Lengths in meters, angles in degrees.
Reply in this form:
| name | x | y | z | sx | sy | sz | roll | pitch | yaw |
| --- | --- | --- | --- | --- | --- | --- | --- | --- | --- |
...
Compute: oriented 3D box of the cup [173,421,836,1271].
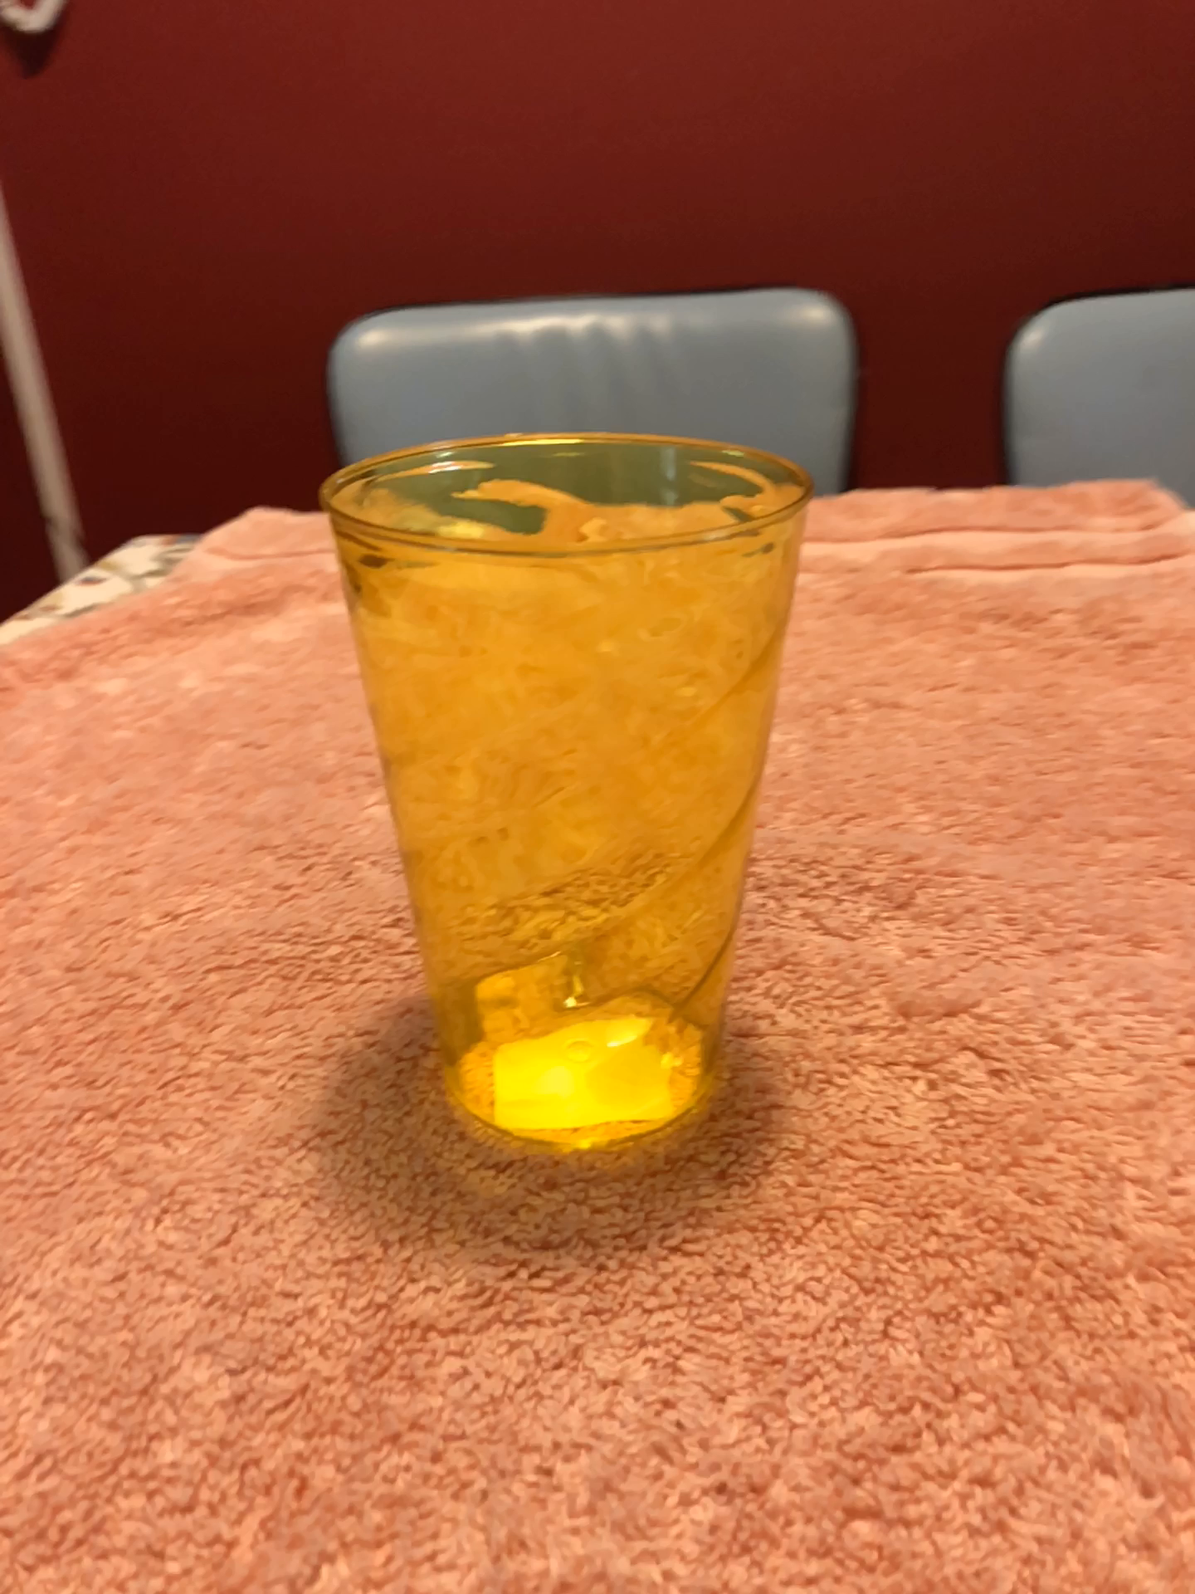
| name | x | y | z | sx | sy | sz | roll | pitch | yaw |
| --- | --- | --- | --- | --- | --- | --- | --- | --- | --- |
| cup | -0.006 | 0.002 | 0.238 | 0.080 | 0.119 | 0.080 | -3 | 25 | 2 |
